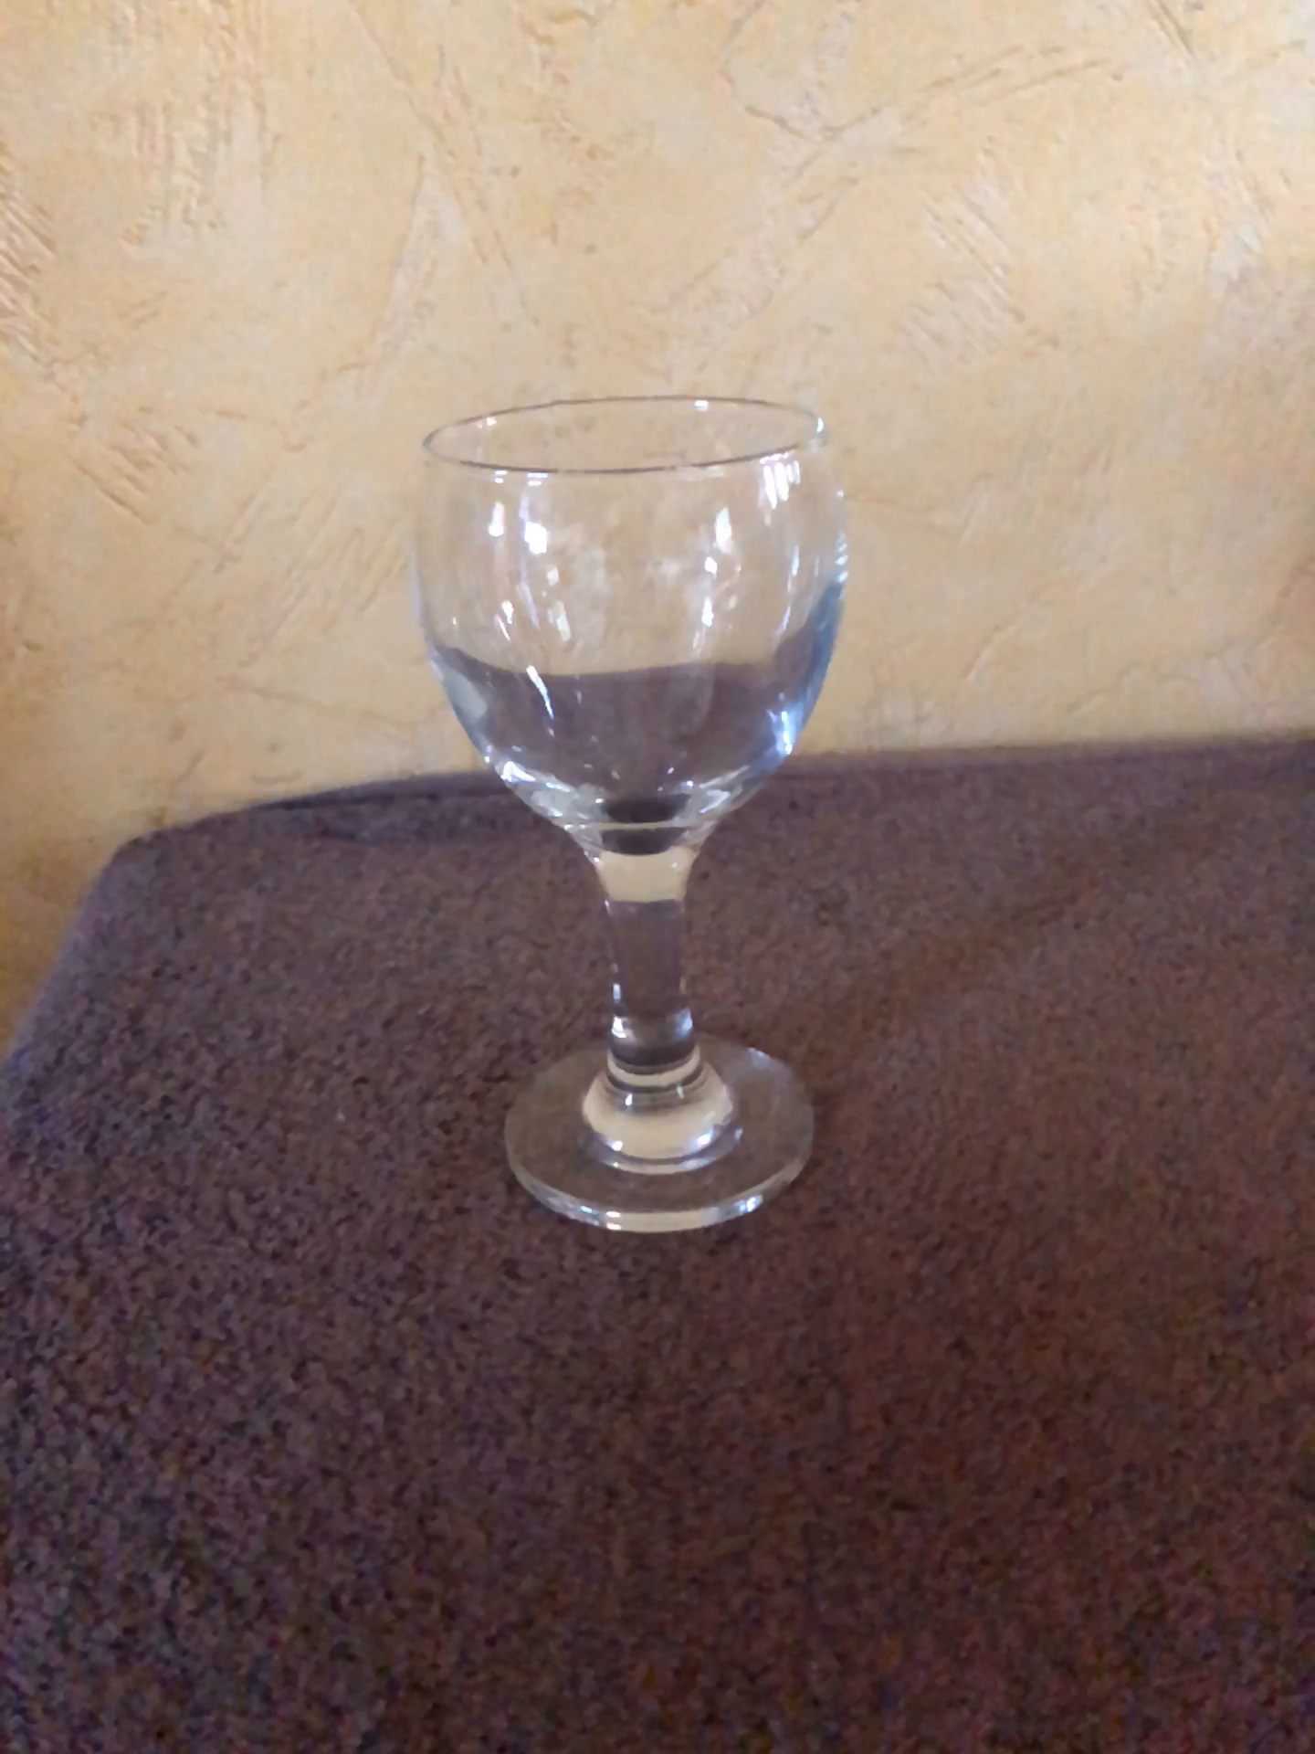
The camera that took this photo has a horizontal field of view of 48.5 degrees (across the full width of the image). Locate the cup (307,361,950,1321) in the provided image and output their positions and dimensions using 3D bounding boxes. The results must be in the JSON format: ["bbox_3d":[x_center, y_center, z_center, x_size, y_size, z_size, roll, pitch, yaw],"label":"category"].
[{"bbox_3d":[-0.004,-0.011,0.242,0.070,0.129,0.070,-3,26,1],"label":"cup"}]
